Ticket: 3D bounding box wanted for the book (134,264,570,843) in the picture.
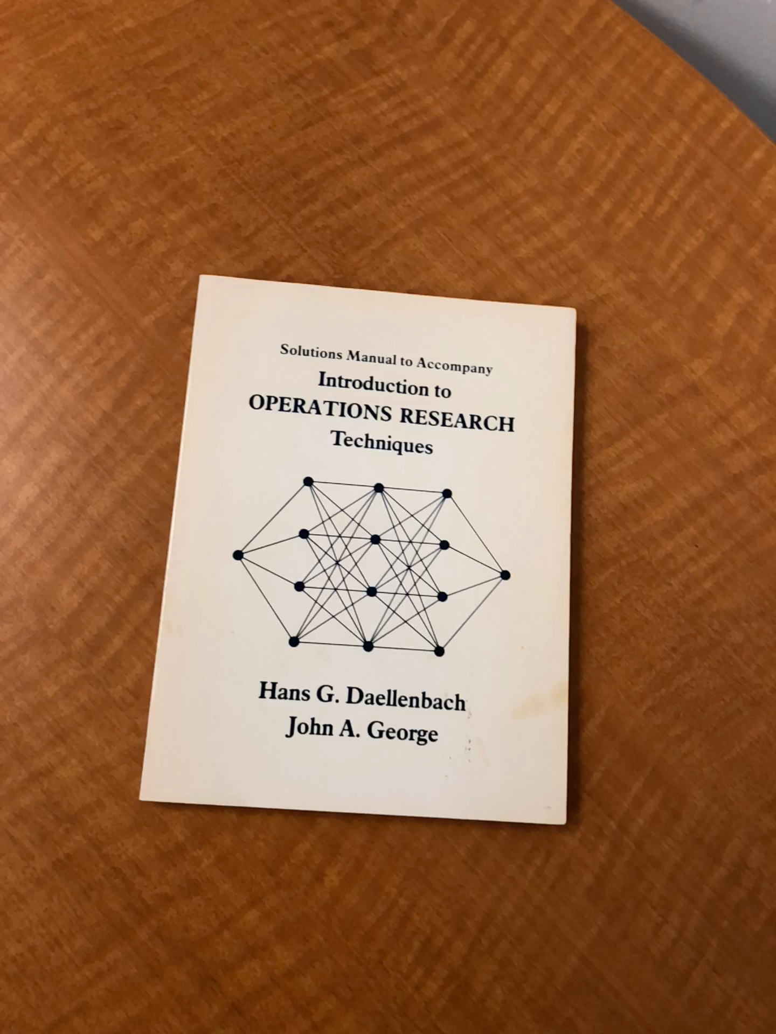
[{"bbox_3d":[-0.008,0.012,0.391,0.180,0.020,0.250,4,78,-5],"label":"book"}]
